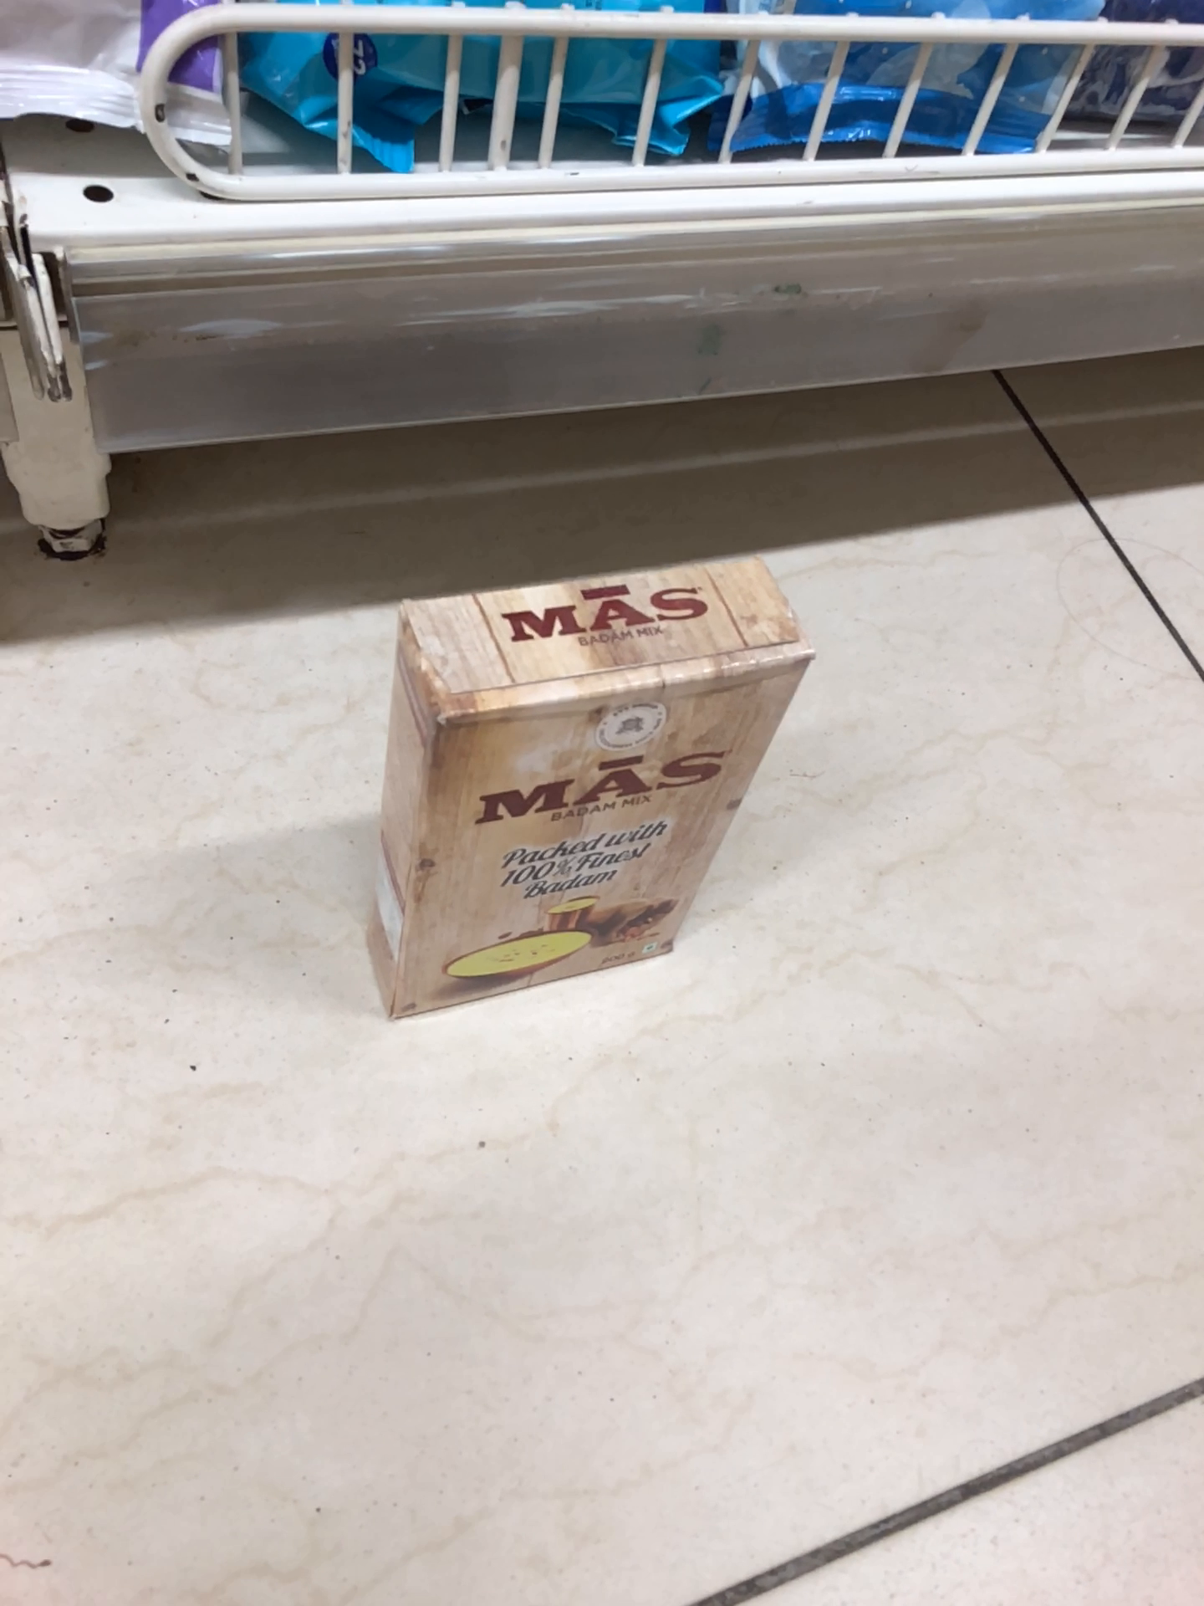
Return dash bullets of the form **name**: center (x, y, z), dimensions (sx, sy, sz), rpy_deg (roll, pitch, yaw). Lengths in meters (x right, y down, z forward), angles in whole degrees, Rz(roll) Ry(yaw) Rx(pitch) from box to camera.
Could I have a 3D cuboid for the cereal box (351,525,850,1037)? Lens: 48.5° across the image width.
- **cereal box**: center (-0.009, -0.001, 0.324), dimensions (0.090, 0.129, 0.040), rpy_deg (-10, 57, -21)
